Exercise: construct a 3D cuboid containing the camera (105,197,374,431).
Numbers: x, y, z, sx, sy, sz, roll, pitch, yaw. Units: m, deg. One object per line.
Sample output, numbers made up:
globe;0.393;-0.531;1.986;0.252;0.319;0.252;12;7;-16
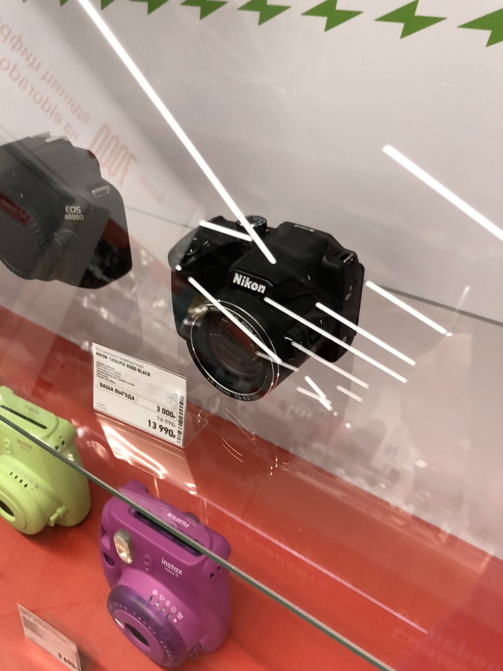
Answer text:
camera;-0.005;-0.021;0.335;0.115;0.070;0.100;23;42;29
